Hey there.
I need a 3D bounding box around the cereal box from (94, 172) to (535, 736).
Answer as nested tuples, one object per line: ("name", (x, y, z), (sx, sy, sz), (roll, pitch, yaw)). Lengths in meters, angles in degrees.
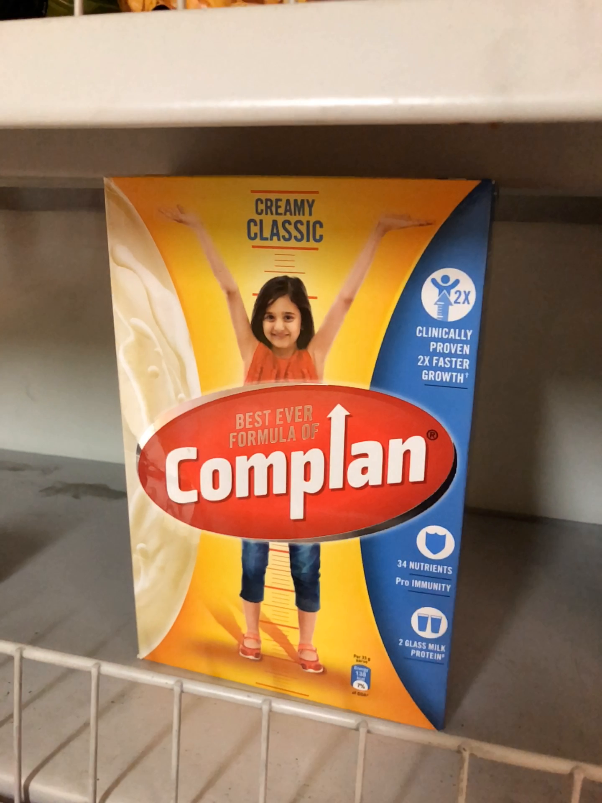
("cereal box", (0.004, 0.015, 0.268), (0.150, 0.199, 0.050), (5, 16, 16))
